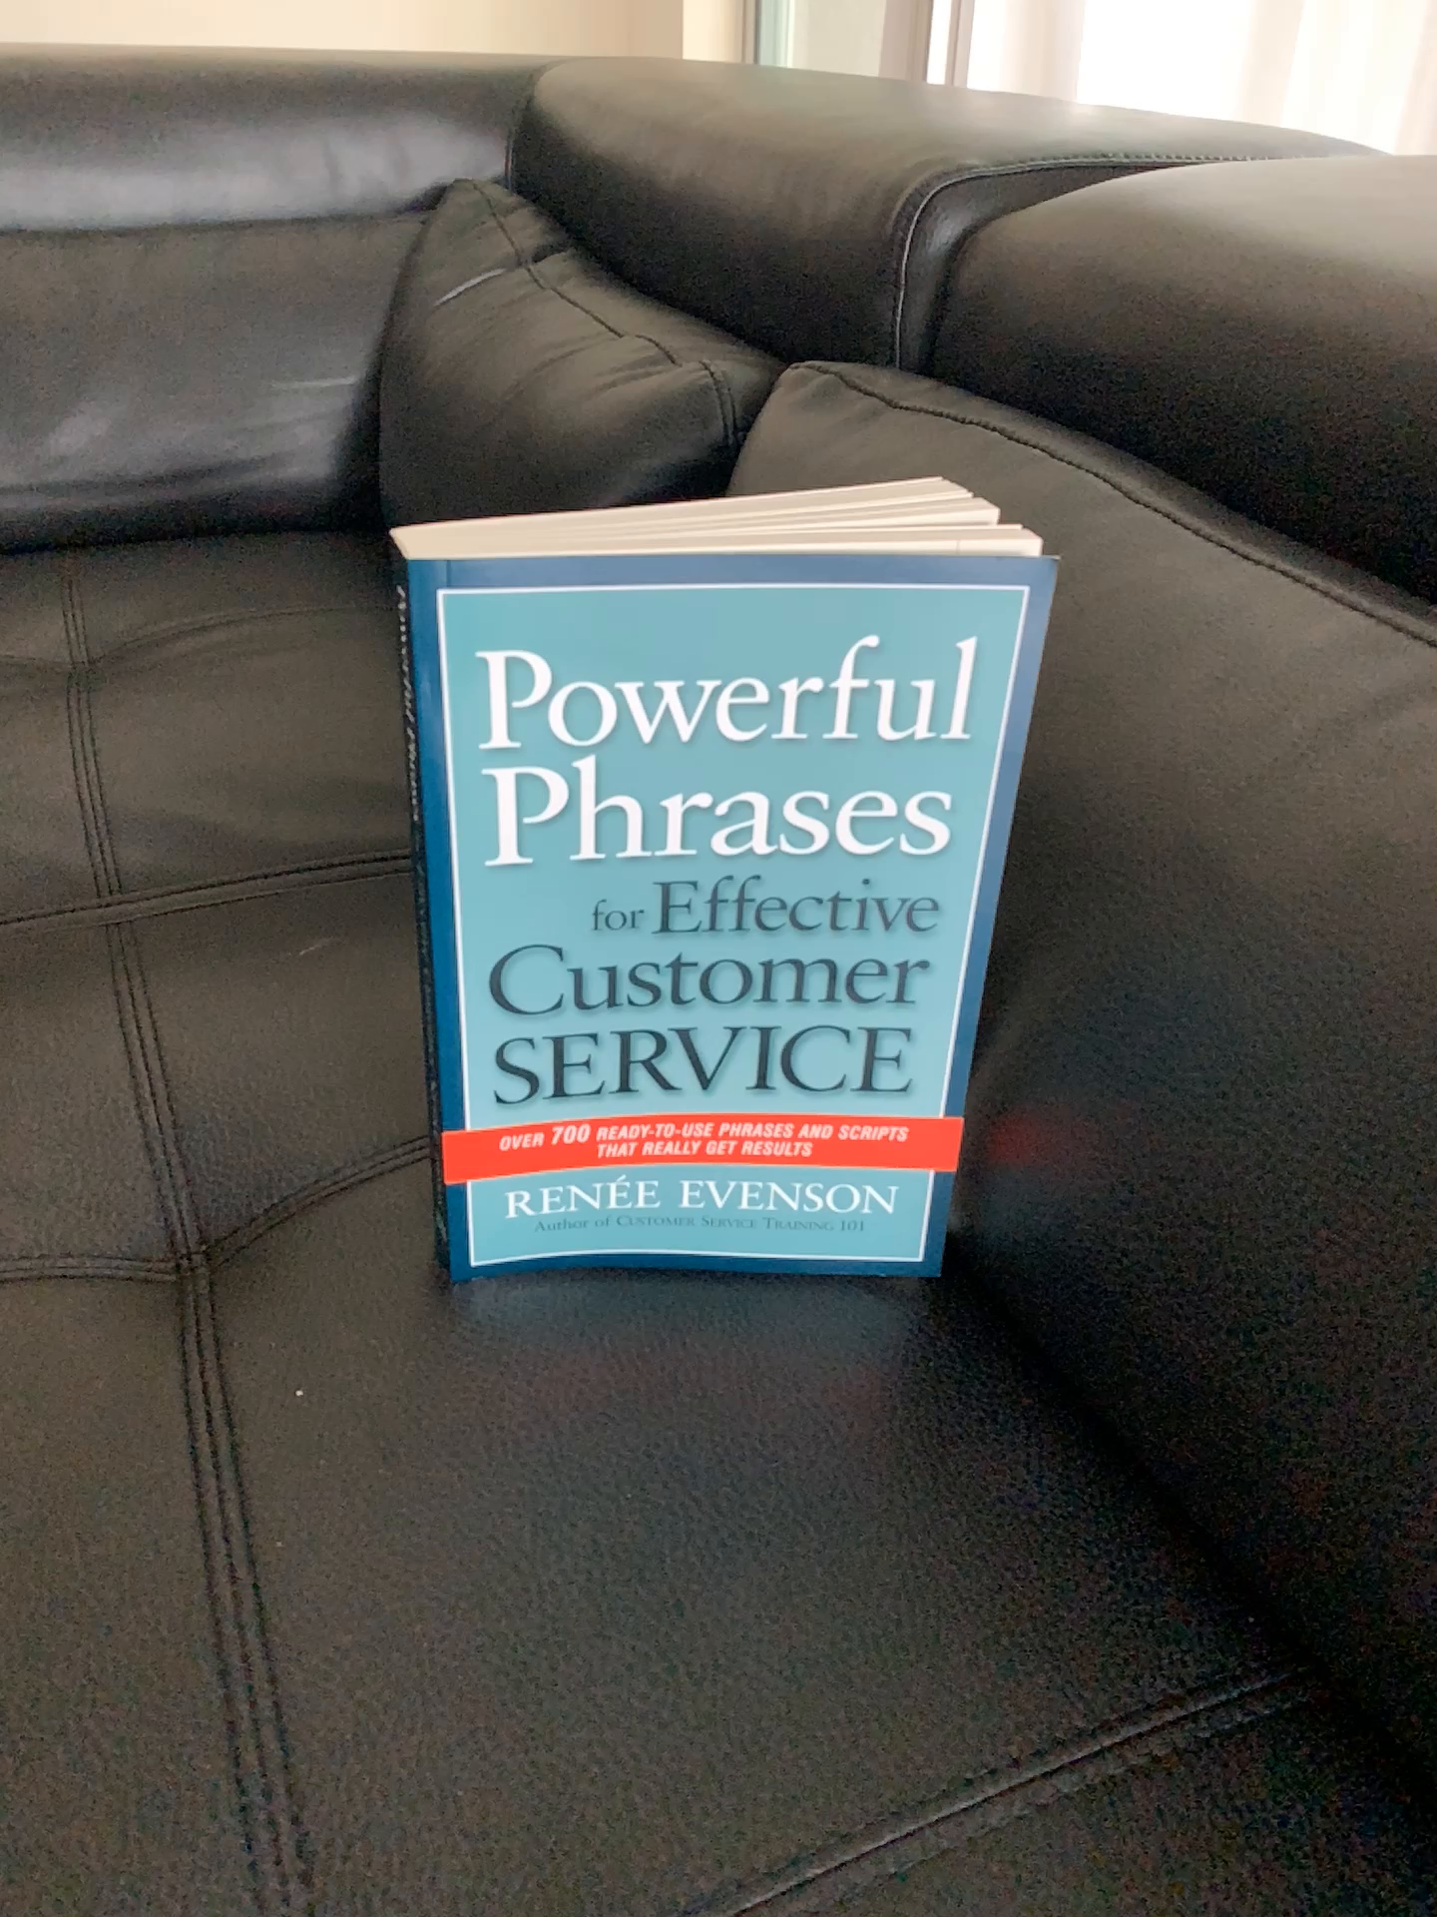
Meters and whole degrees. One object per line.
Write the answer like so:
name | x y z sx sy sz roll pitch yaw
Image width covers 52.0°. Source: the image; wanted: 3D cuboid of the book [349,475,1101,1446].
book | -0.004 0.004 0.419 0.162 0.246 0.083 -9 35 -17
